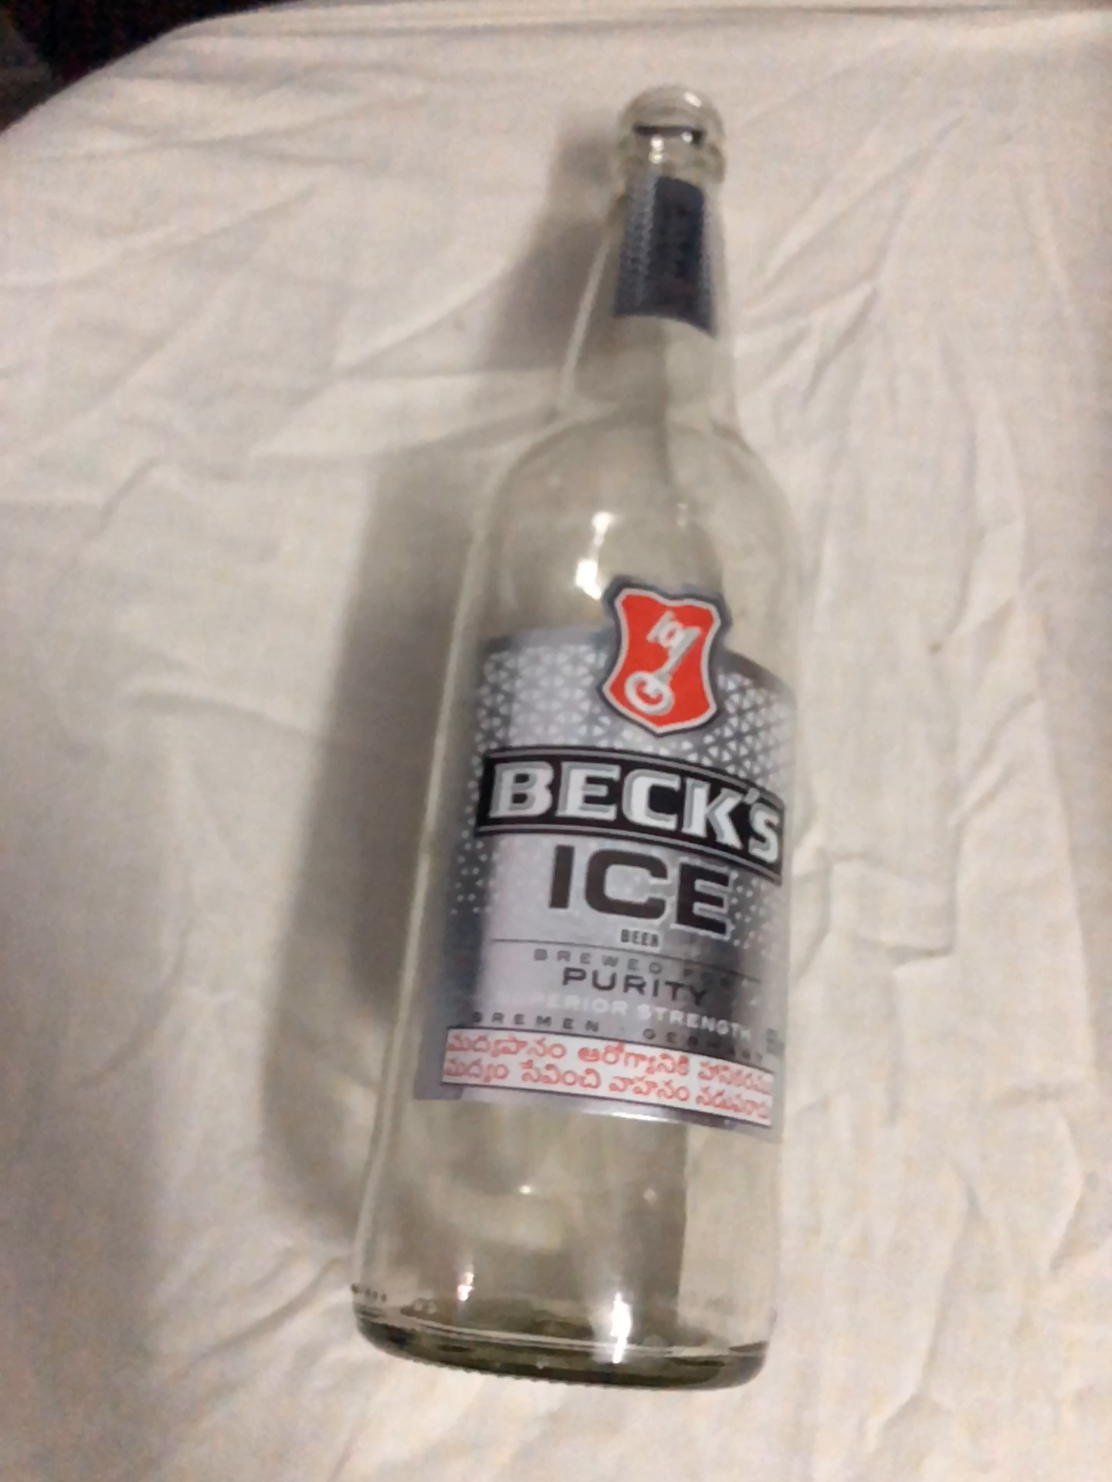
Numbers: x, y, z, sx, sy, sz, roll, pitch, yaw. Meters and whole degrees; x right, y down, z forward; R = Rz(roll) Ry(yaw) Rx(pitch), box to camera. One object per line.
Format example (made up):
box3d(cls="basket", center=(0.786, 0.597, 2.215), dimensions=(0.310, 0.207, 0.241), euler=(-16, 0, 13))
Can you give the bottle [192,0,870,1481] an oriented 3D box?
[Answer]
box3d(cls="bottle", center=(0.008, -0.027, 0.228), dimensions=(0.080, 0.080, 0.280), euler=(3, 76, 7))
